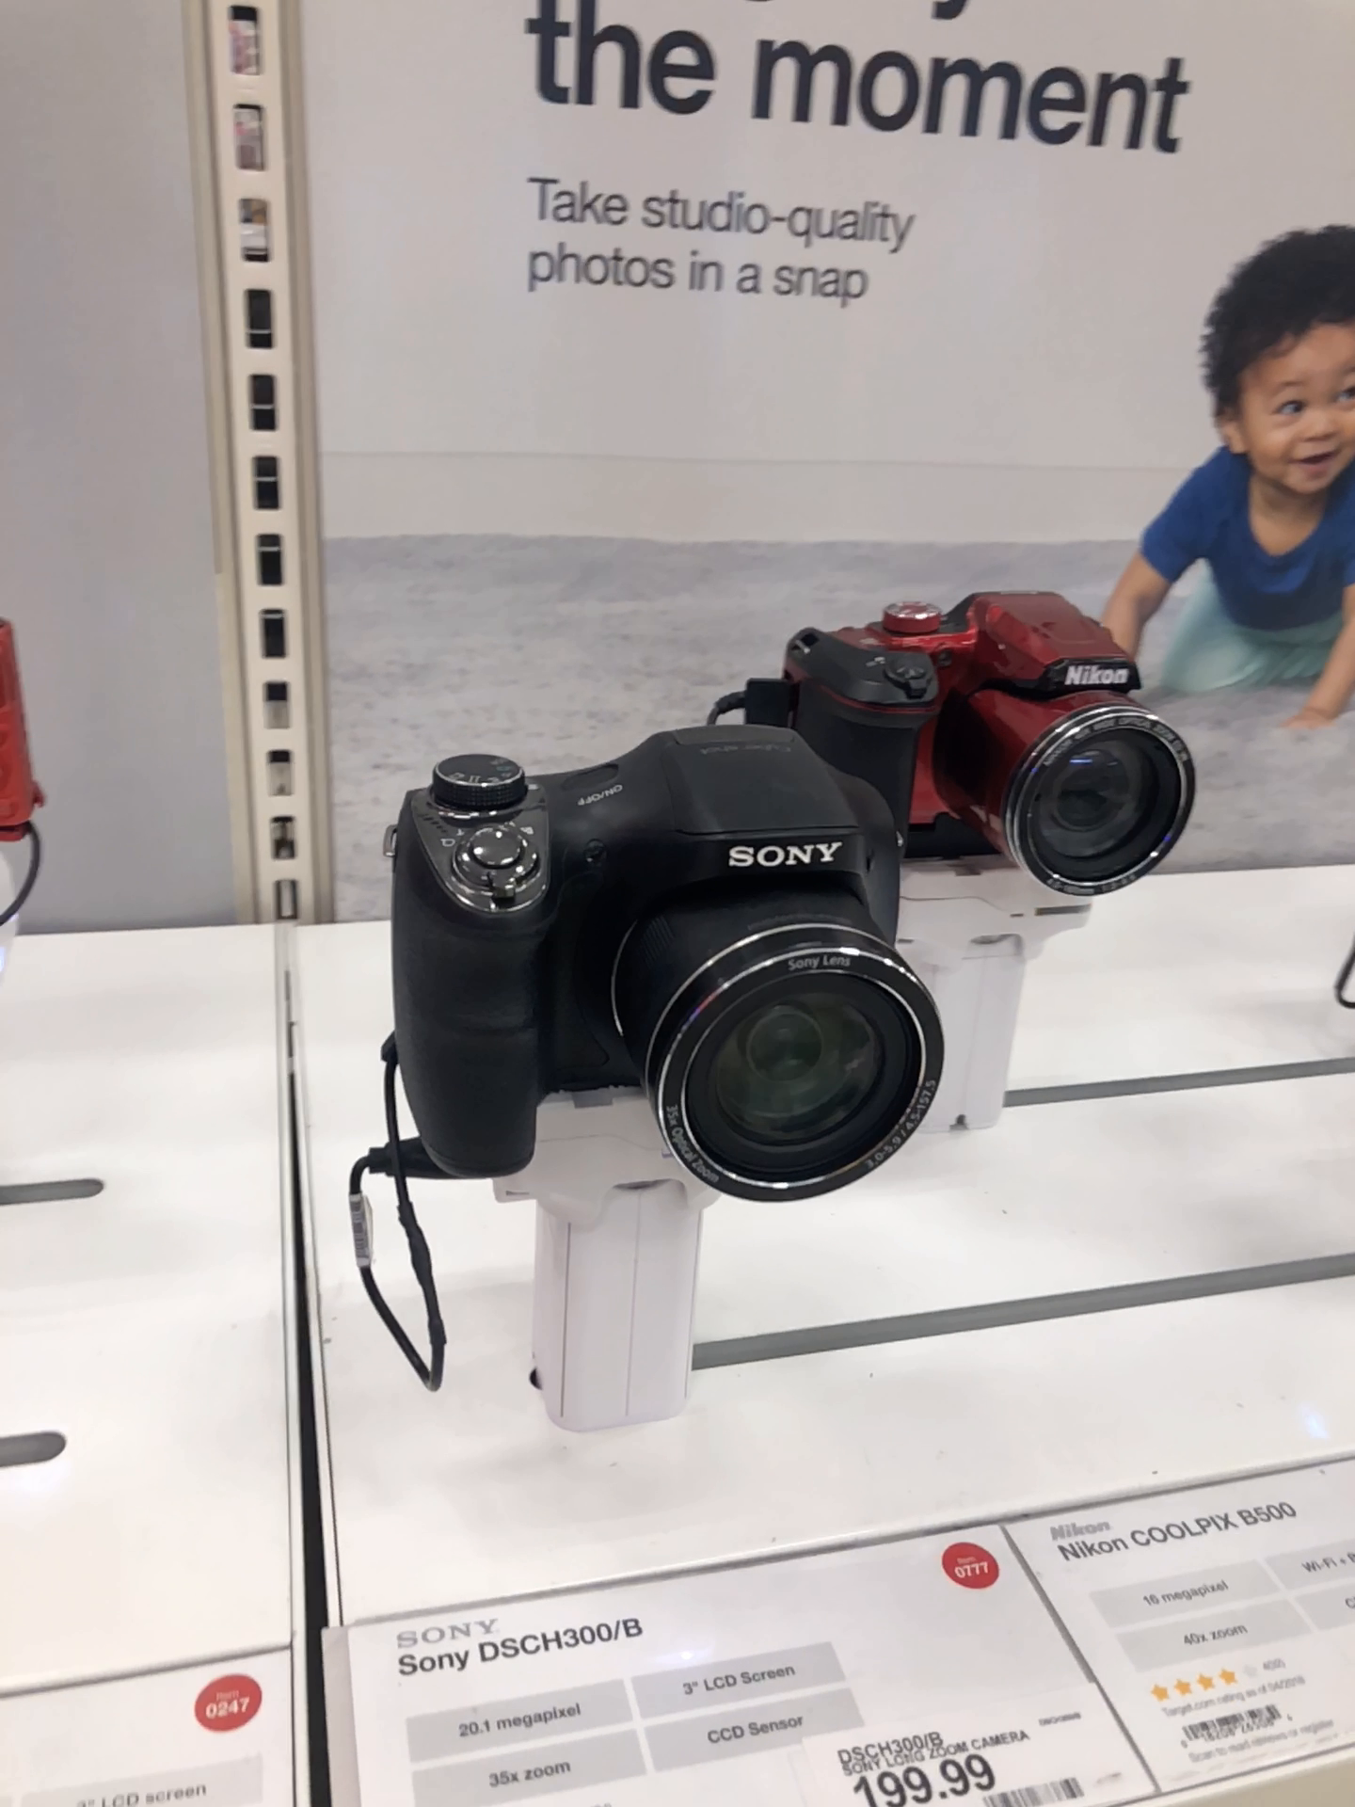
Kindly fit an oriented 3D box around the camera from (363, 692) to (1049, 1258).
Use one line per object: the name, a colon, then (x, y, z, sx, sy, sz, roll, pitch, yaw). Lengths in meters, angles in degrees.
camera: (-0.002, 0.009, 0.344, 0.130, 0.090, 0.090, -3, 26, -15)
